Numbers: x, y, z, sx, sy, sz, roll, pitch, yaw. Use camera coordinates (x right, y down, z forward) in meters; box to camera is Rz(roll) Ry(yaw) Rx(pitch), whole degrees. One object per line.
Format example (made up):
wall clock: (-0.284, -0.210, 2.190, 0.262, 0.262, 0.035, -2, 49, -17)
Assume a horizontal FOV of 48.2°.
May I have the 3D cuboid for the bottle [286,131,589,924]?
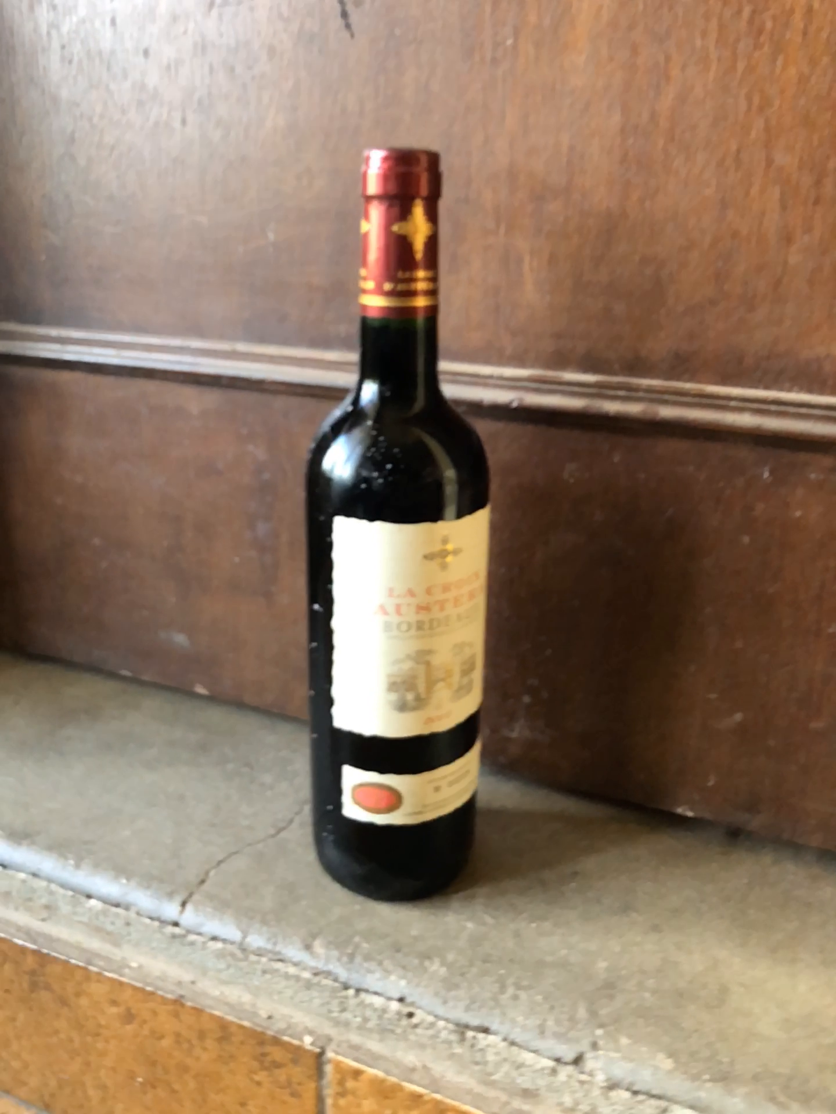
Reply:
bottle: (-0.001, -0.007, 0.360, 0.080, 0.279, 0.080, 1, 20, 0)
